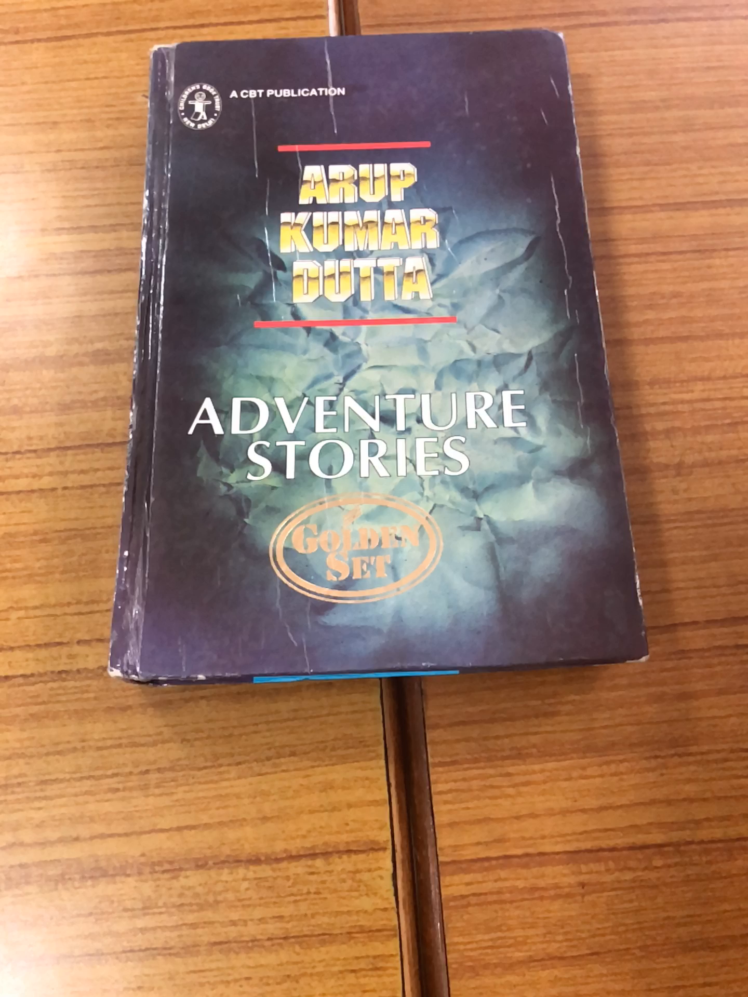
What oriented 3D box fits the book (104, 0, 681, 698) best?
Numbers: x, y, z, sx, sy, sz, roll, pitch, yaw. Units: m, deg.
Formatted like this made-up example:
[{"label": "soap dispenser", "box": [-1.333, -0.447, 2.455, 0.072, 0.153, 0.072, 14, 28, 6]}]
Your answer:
[{"label": "book", "box": [0.001, -0.054, 0.259, 0.145, 0.036, 0.218, -2, 73, -1]}]
